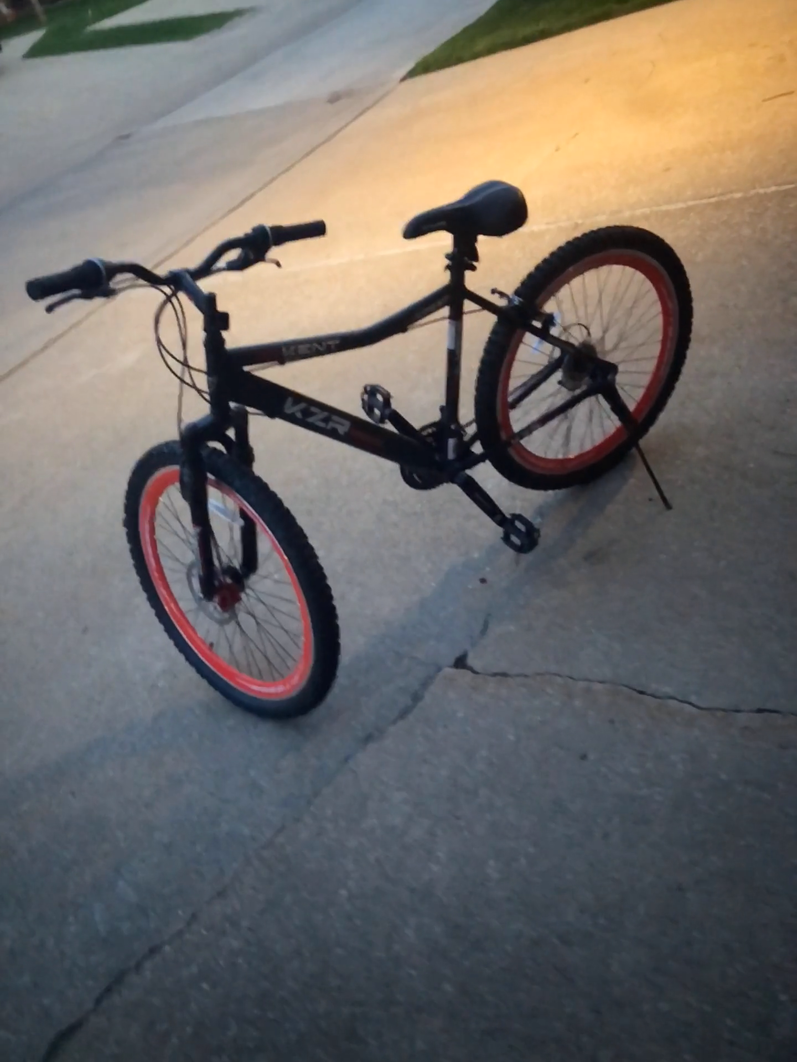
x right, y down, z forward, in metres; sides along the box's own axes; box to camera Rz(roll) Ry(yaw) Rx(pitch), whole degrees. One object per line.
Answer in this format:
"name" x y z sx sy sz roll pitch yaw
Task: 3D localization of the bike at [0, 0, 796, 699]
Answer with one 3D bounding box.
"bike" 0.006 -0.410 1.948 1.424 1.031 0.600 -24 35 -7
